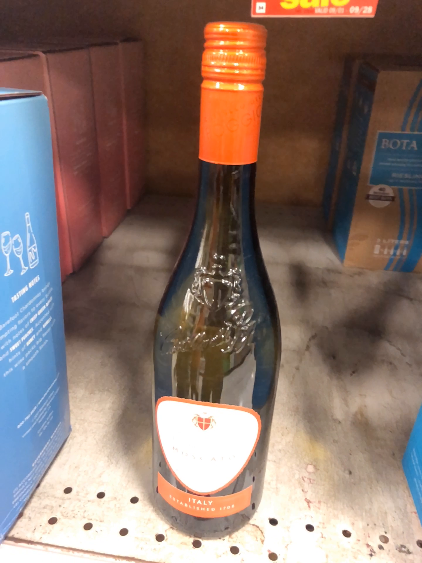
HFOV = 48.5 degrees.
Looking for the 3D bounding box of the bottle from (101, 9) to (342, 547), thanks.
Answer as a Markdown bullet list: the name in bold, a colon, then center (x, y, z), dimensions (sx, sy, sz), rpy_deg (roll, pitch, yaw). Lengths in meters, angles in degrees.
- **bottle**: center (0.002, 0.023, 0.261), dimensions (0.080, 0.299, 0.070), rpy_deg (4, 31, 4)
